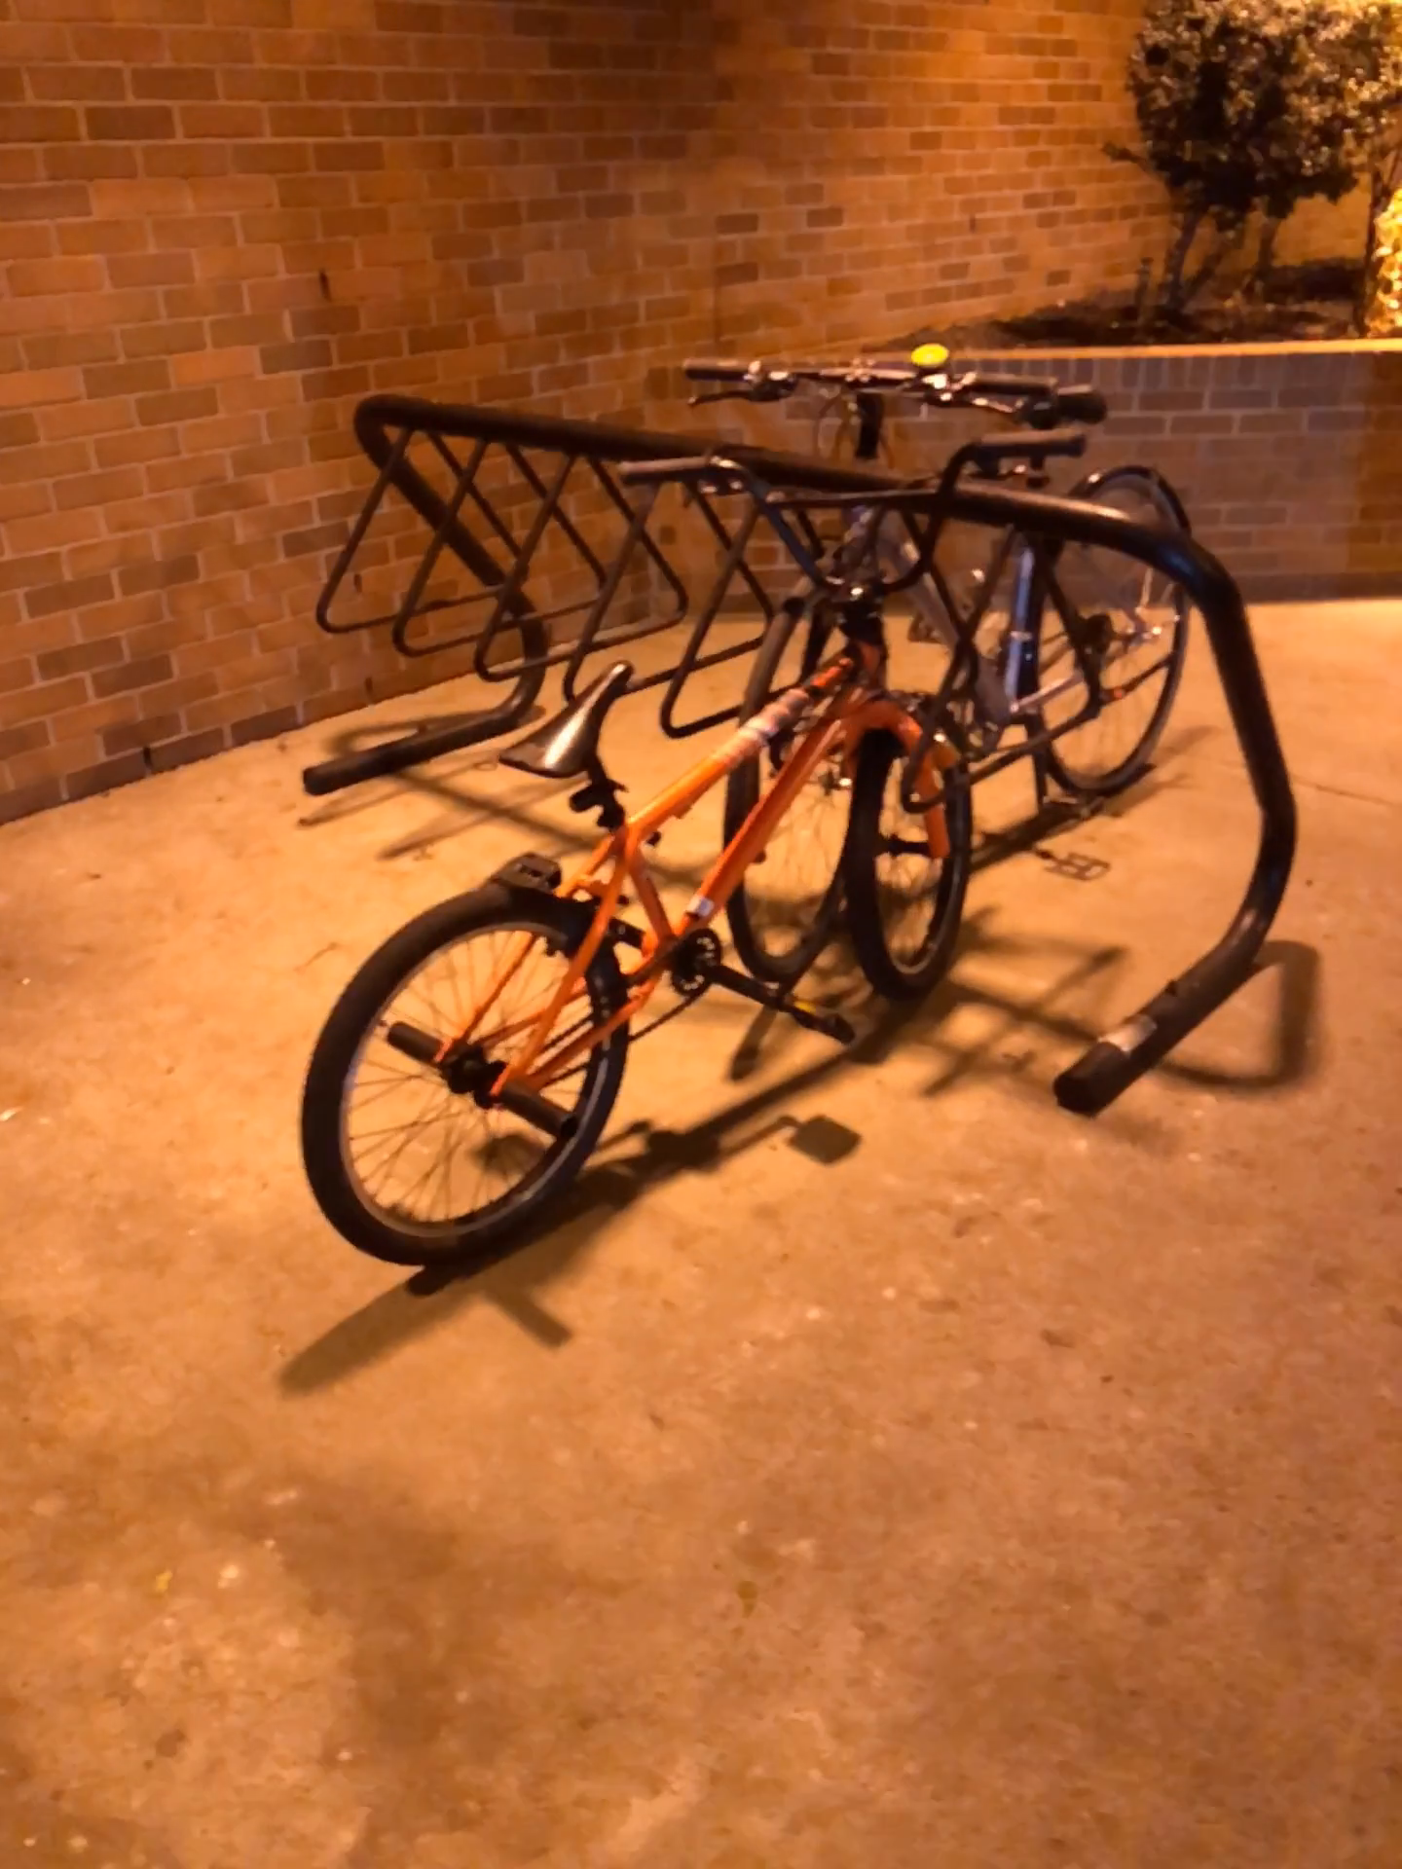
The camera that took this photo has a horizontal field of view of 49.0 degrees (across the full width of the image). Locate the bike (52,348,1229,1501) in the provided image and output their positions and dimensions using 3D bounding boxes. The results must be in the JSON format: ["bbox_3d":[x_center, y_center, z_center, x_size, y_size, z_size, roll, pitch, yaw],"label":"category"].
[{"bbox_3d":[0.012,-0.177,2.055,0.746,0.927,1.294,21,36,37],"label":"bike"}]
